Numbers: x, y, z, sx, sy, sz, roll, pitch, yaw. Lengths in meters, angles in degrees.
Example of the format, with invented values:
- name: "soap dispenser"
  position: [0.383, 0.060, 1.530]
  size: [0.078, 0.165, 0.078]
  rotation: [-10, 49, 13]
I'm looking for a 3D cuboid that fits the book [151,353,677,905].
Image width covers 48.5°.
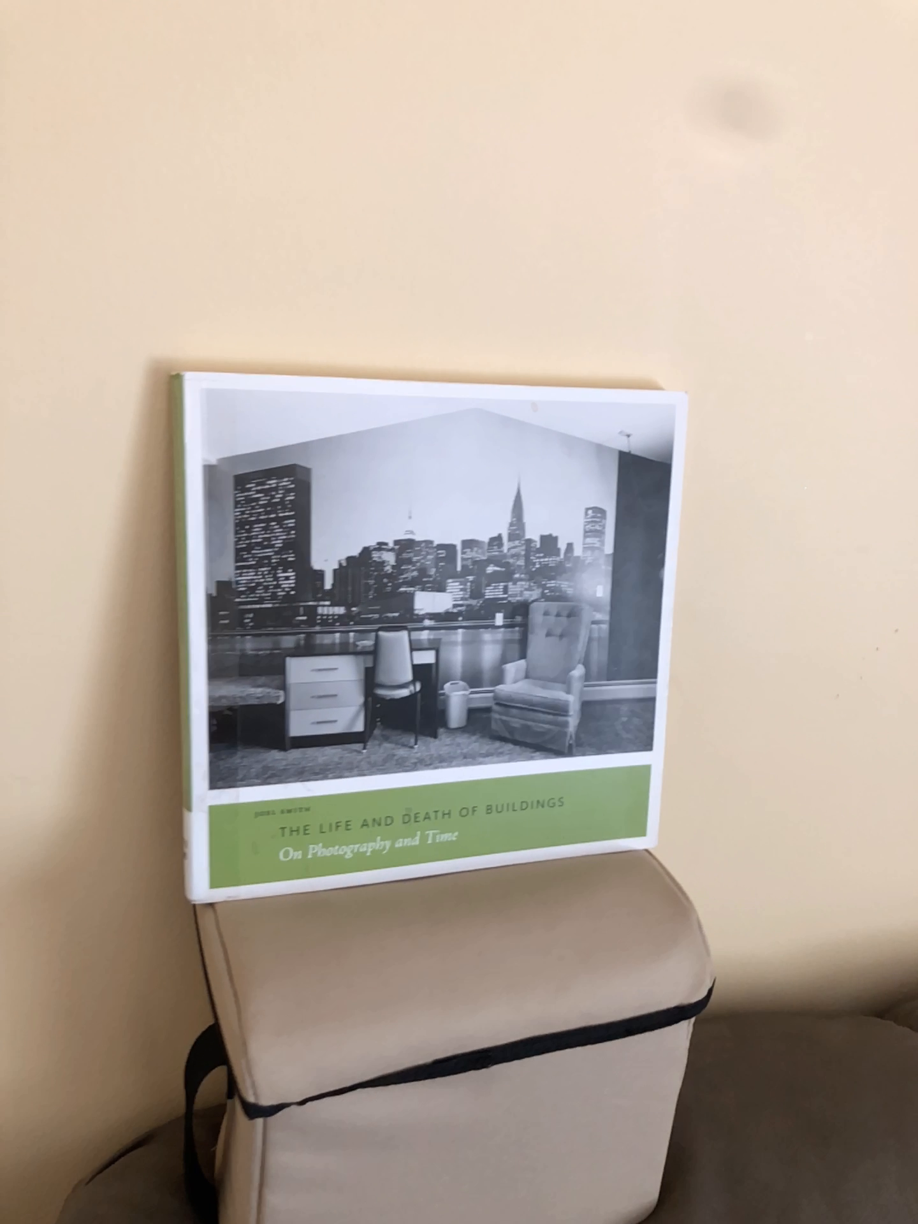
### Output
- name: "book"
  position: [-0.013, 0.005, 0.421]
  size: [0.216, 0.204, 0.020]
  rotation: [-2, 10, -23]
